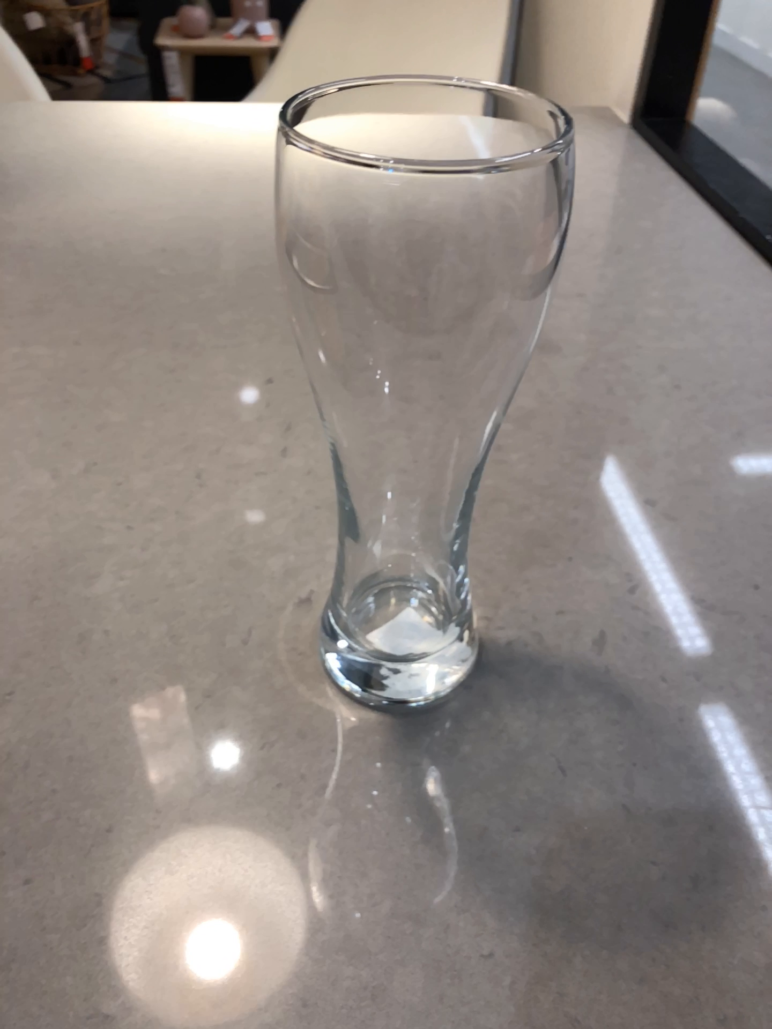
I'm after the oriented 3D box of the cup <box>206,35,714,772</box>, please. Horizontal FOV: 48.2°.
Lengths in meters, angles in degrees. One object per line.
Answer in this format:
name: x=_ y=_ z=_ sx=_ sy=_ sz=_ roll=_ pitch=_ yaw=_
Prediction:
cup: x=0.018 y=-0.033 z=0.309 sx=0.100 sy=0.219 sz=0.100 roll=1 pitch=40 yaw=-1
